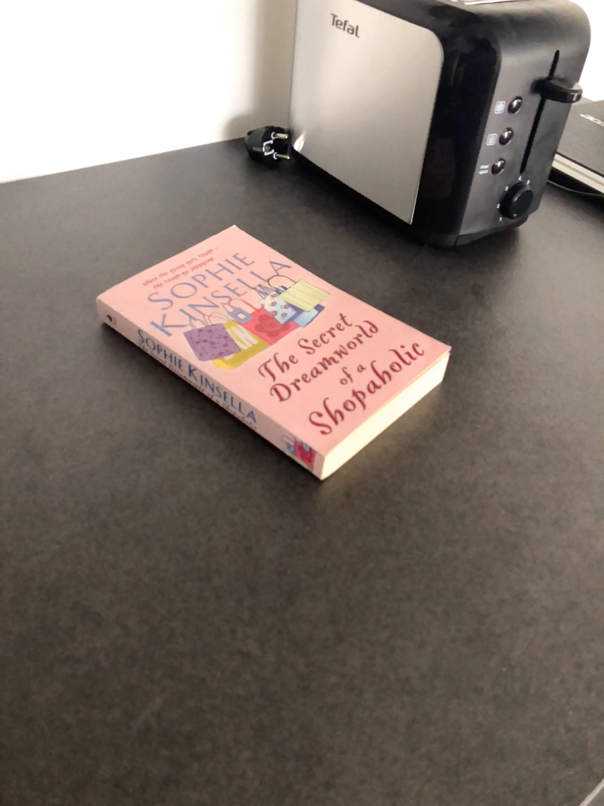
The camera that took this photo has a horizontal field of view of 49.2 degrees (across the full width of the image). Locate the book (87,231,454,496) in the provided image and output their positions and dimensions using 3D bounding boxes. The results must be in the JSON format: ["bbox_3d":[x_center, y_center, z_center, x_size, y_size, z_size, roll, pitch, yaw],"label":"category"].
[{"bbox_3d":[-0.022,-0.040,0.434,0.200,0.030,0.131,33,48,25],"label":"book"}]
